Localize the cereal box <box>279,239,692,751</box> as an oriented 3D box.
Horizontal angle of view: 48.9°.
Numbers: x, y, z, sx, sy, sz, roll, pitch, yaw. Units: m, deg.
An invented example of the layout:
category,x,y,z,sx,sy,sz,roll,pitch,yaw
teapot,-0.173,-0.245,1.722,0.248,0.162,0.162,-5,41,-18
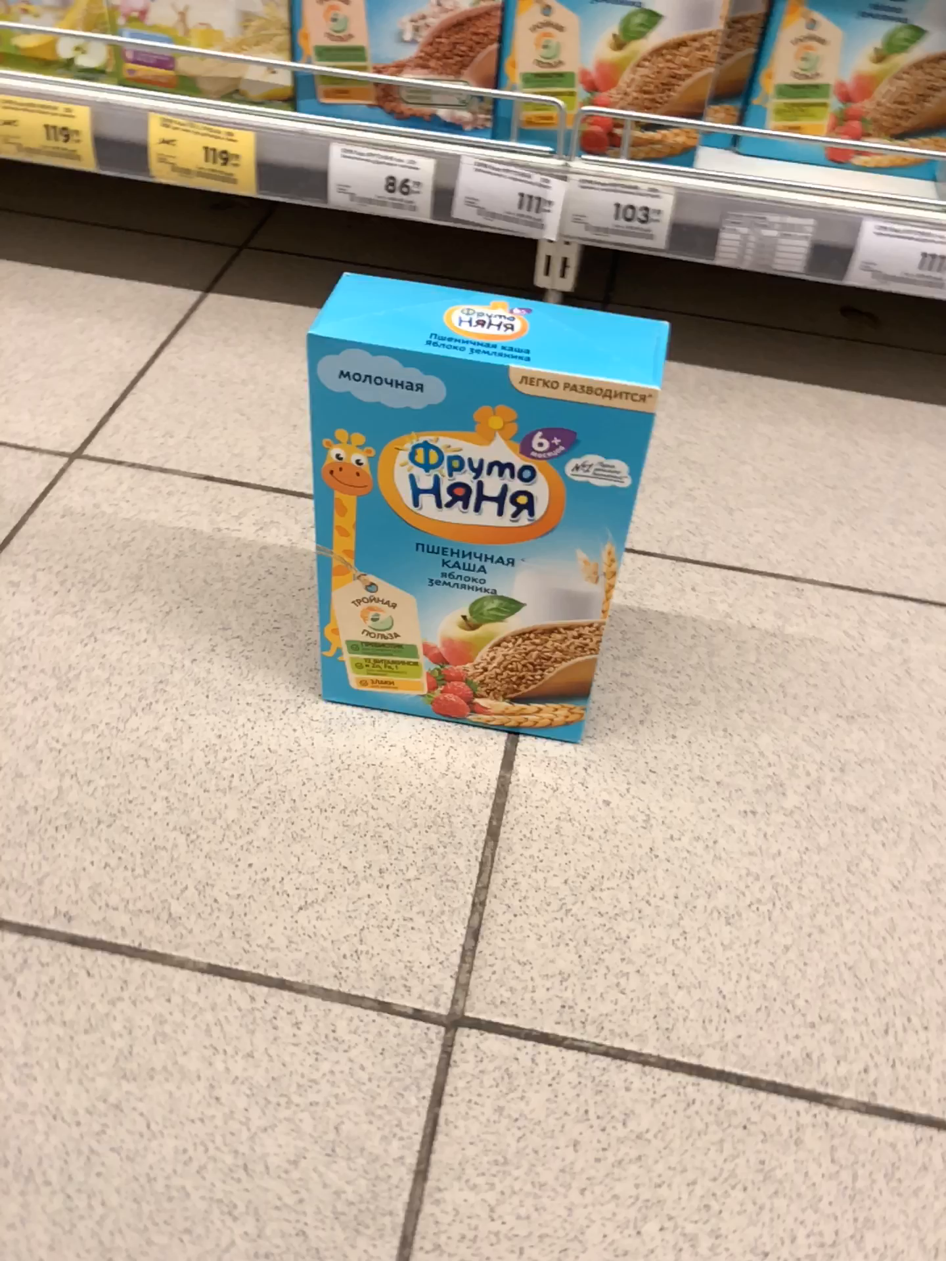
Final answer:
category,x,y,z,sx,sy,sz,roll,pitch,yaw
cereal box,0.001,-0.047,0.441,0.140,0.199,0.060,10,45,4
